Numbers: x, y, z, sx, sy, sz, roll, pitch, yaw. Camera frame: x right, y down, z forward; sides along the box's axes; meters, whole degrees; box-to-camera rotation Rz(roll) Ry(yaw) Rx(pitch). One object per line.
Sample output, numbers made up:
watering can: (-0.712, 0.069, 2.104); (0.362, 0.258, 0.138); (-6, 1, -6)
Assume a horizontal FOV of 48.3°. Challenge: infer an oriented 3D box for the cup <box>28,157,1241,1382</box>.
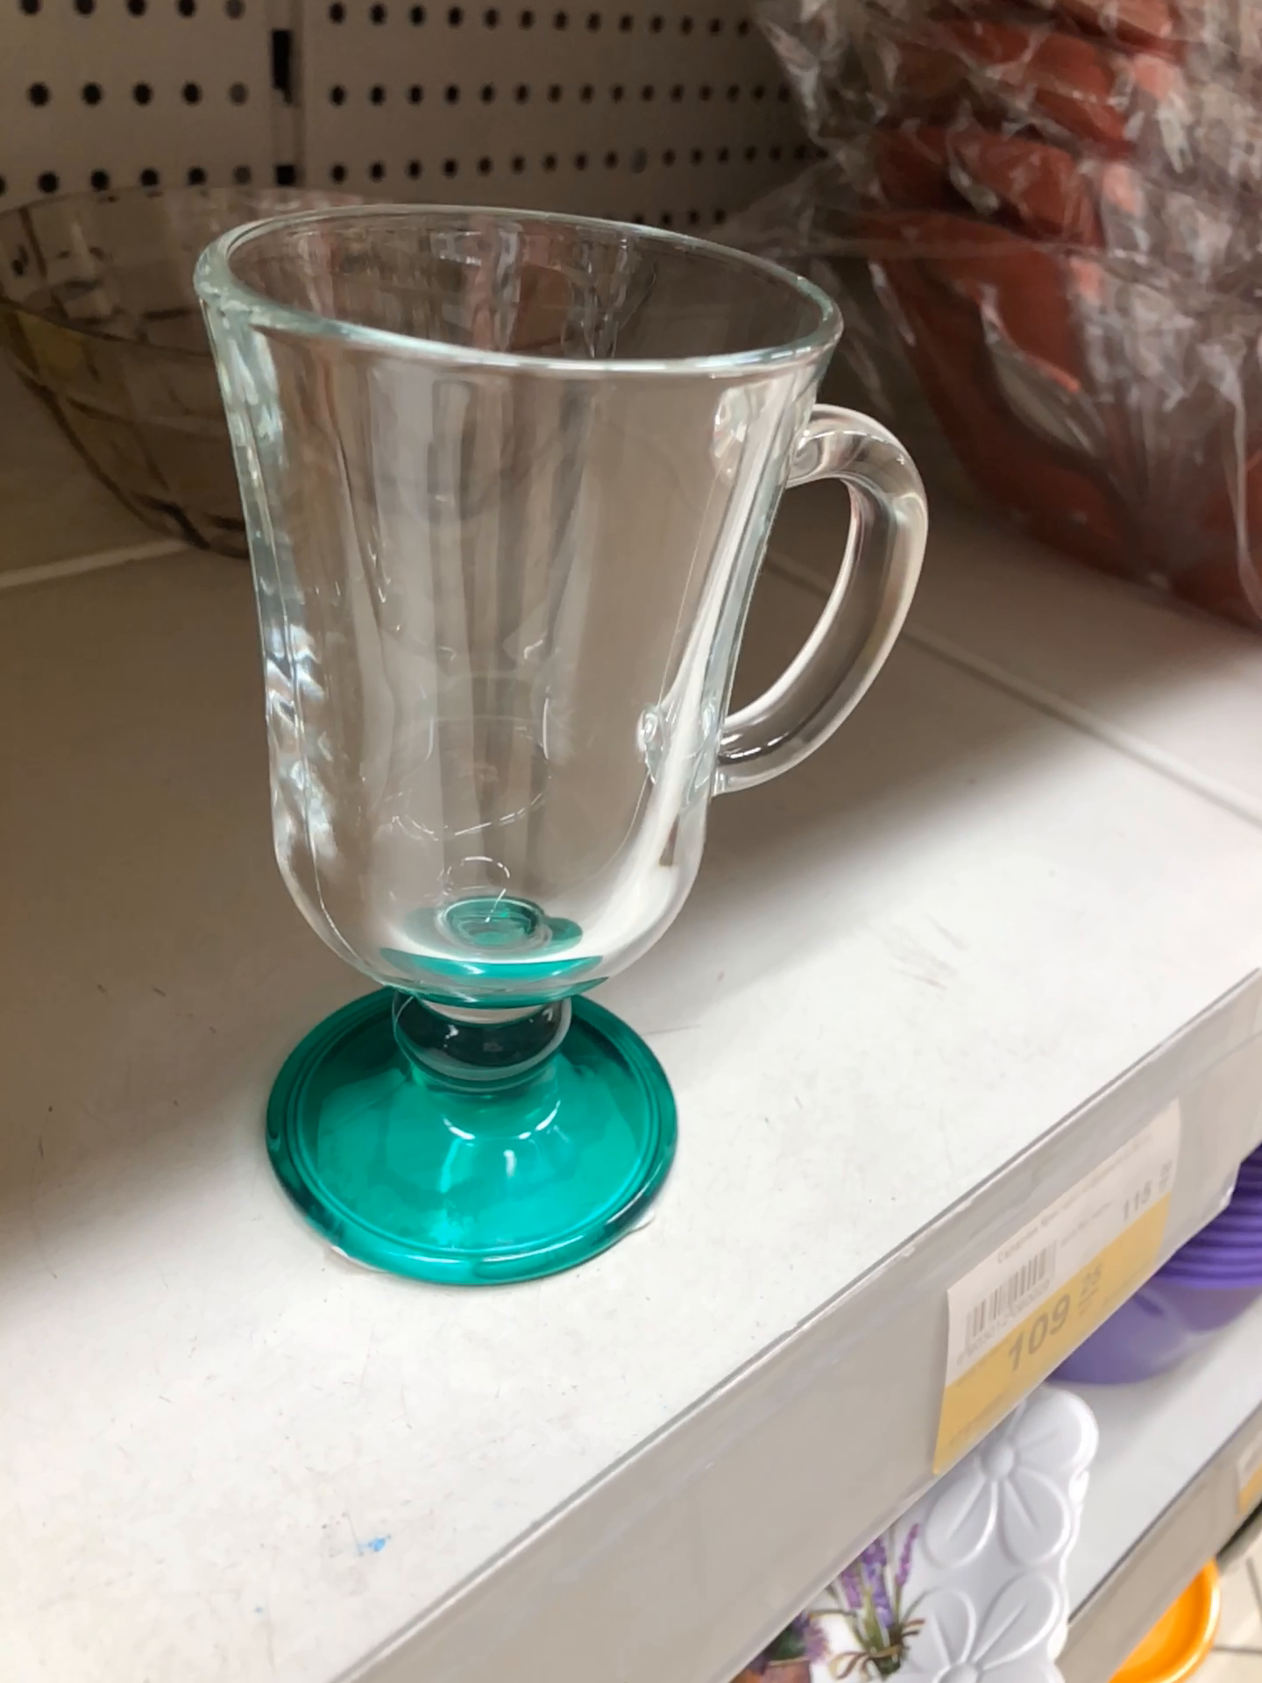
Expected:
cup: (-0.006, -0.018, 0.192); (0.108, 0.118, 0.086); (-16, 41, -27)
